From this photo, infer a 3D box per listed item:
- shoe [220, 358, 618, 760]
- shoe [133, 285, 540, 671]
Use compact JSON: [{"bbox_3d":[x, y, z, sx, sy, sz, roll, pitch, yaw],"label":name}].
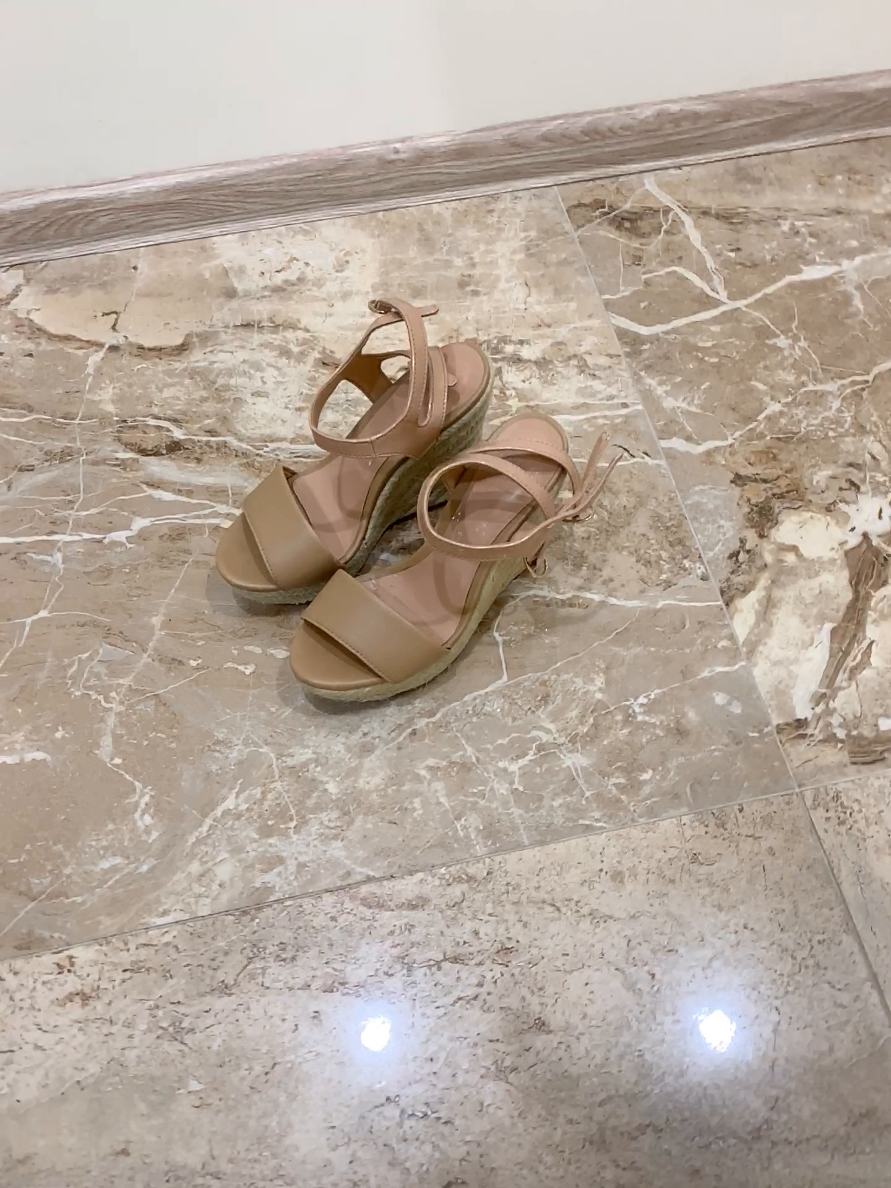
[{"bbox_3d":[-0.010,-0.020,0.556,0.210,0.130,0.090,-38,68,-19],"label":"shoe"},{"bbox_3d":[-0.058,-0.069,0.575,0.210,0.150,0.090,-30,65,-15],"label":"shoe"}]
